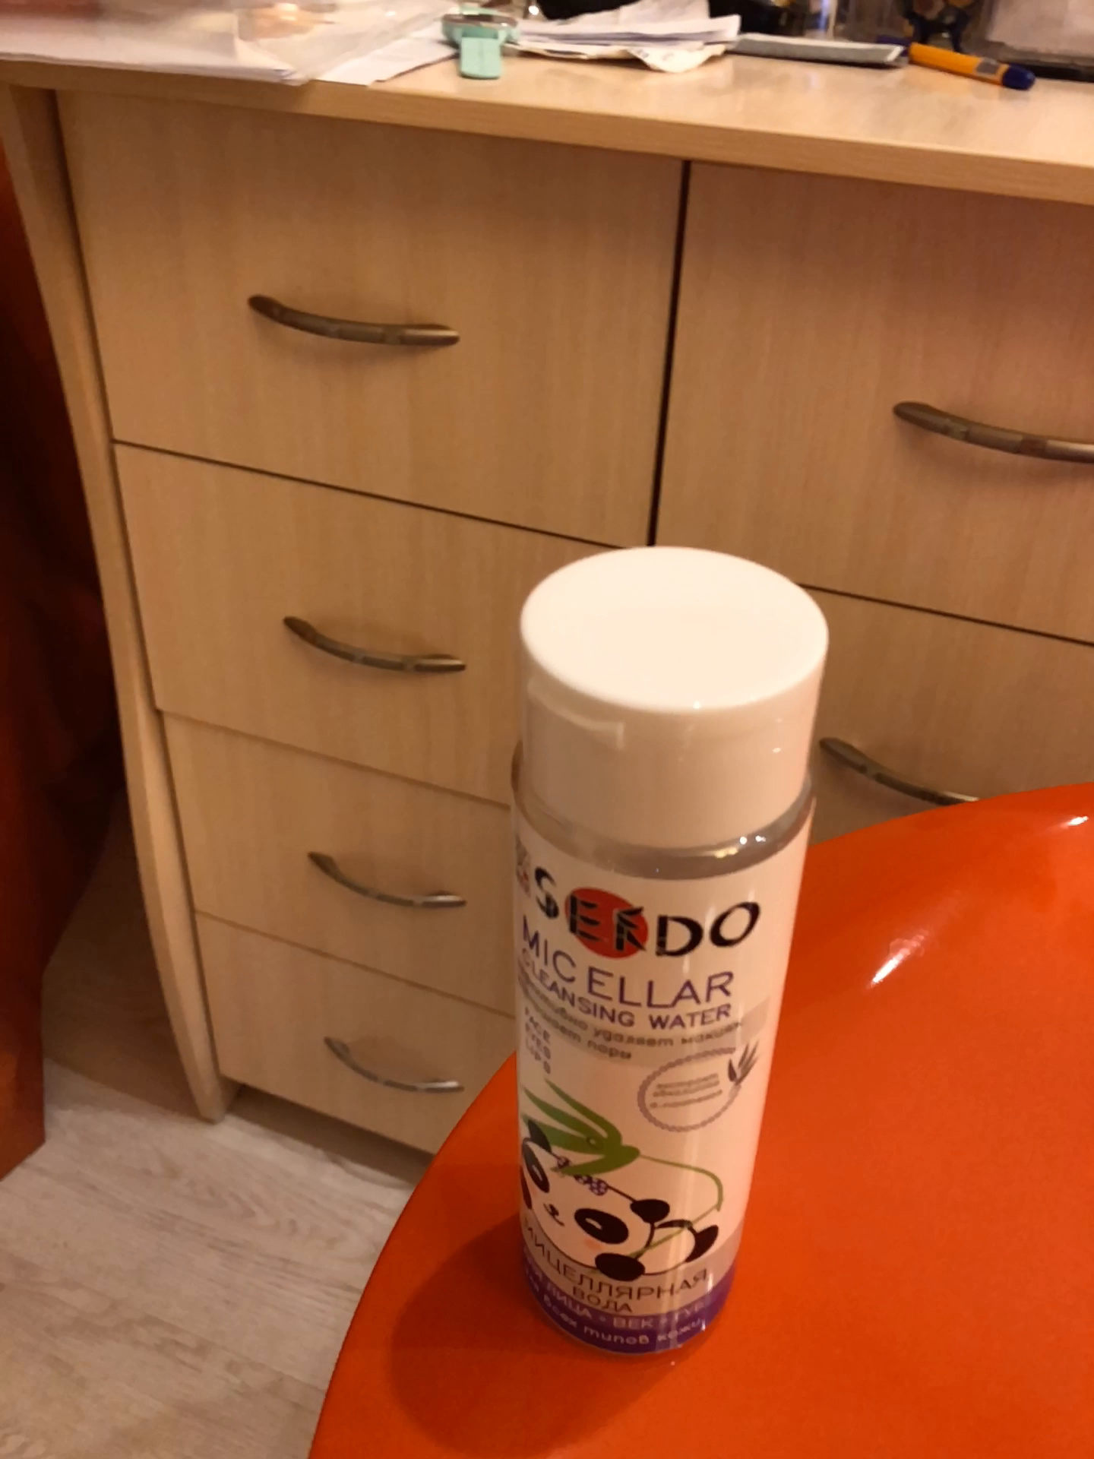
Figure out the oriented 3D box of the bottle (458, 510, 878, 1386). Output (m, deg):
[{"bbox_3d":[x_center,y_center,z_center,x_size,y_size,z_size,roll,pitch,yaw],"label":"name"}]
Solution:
[{"bbox_3d":[0.018,0.050,0.225,0.053,0.166,0.052,1,37,-1],"label":"bottle"}]
